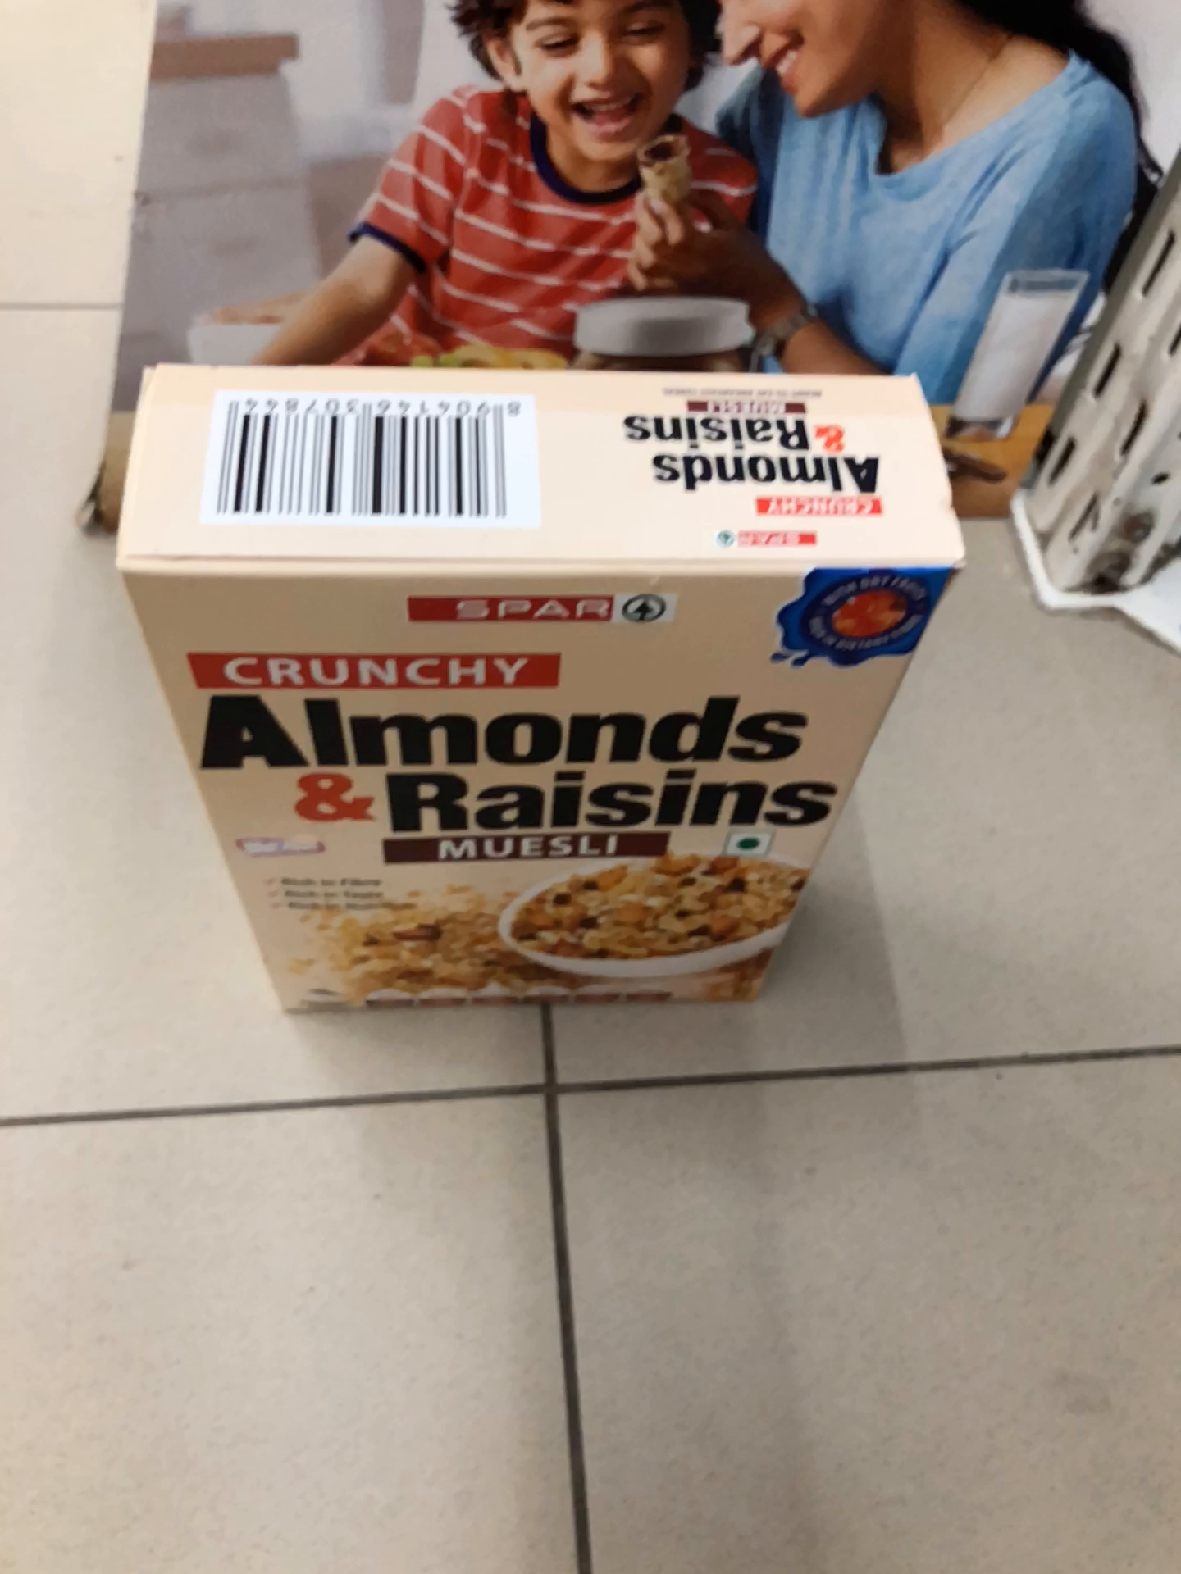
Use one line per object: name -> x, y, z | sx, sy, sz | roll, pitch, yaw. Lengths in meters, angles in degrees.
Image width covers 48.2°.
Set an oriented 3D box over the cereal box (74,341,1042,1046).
cereal box -> -0.013, -0.004, 0.362 | 0.180, 0.239, 0.060 | -1, 58, -5
